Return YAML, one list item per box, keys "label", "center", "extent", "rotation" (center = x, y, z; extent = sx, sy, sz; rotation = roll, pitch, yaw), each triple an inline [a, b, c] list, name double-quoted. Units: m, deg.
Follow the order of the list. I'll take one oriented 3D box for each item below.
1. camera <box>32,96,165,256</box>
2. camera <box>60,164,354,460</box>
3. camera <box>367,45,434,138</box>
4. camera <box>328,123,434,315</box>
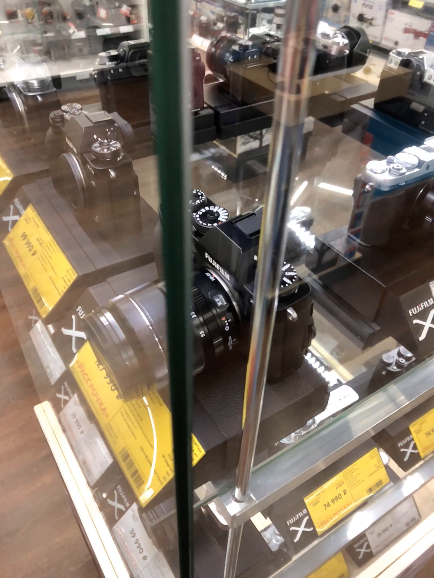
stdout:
- label: "camera"
  center: [-0.109, -0.109, 0.444]
  extent: [0.066, 0.088, 0.125]
  rotation: [-22, 47, -25]
- label: "camera"
  center: [-0.011, 0.005, 0.312]
  extent: [0.120, 0.099, 0.129]
  rotation: [-24, 48, -26]
- label: "camera"
  center: [0.260, -0.256, 0.614]
  extent: [0.056, 0.074, 0.110]
  rotation: [-20, 46, -23]
- label: "camera"
  center: [0.188, -0.066, 0.409]
  extent: [0.125, 0.088, 0.116]
  rotation: [-21, 47, -24]
